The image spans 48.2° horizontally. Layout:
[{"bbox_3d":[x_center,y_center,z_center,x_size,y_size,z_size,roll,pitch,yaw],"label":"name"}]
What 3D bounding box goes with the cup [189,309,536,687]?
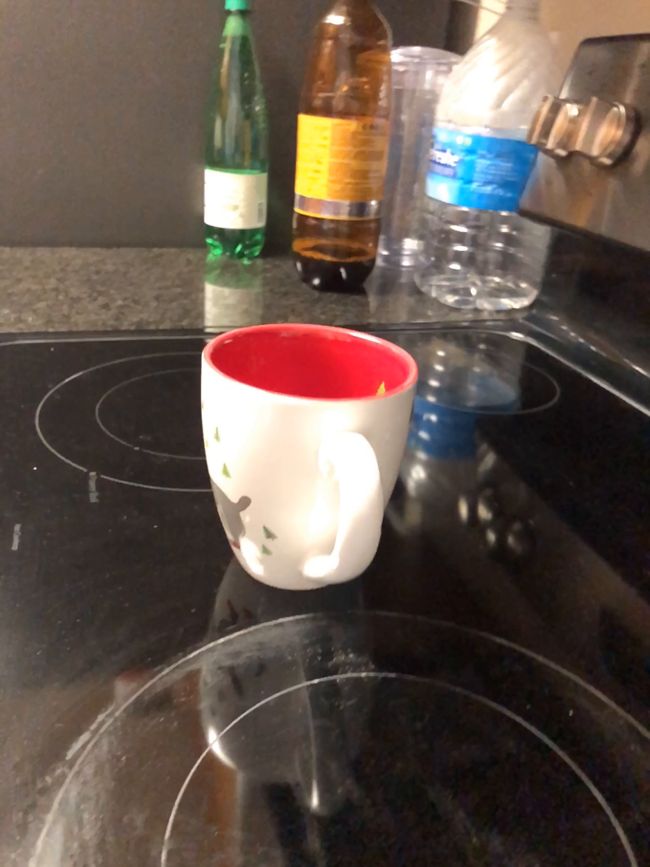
[{"bbox_3d":[0.001,0.015,0.322,0.100,0.100,0.140,-5,27,-19],"label":"cup"}]
